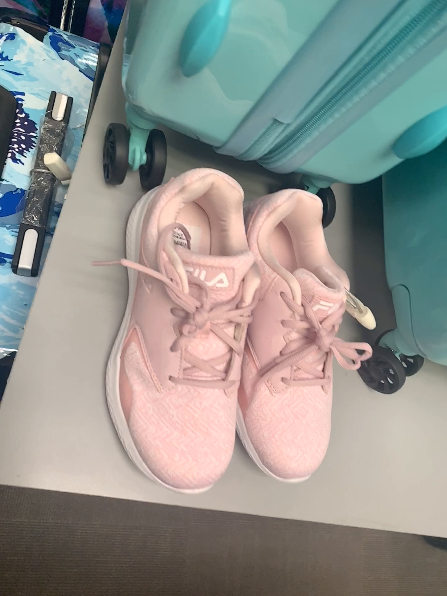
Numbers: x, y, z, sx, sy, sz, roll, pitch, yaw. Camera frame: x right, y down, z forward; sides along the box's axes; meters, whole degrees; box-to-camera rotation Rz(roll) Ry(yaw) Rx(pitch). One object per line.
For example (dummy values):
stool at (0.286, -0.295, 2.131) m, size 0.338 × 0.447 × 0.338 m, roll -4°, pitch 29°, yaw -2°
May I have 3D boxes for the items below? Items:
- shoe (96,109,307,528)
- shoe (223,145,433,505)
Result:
shoe at (-0.023, 0.014, 0.333) m, size 0.108 × 0.104 × 0.251 m, roll 5°, pitch 73°, yaw -24°
shoe at (0.074, 0.023, 0.378) m, size 0.108 × 0.104 × 0.251 m, roll 5°, pitch 73°, yaw -24°
